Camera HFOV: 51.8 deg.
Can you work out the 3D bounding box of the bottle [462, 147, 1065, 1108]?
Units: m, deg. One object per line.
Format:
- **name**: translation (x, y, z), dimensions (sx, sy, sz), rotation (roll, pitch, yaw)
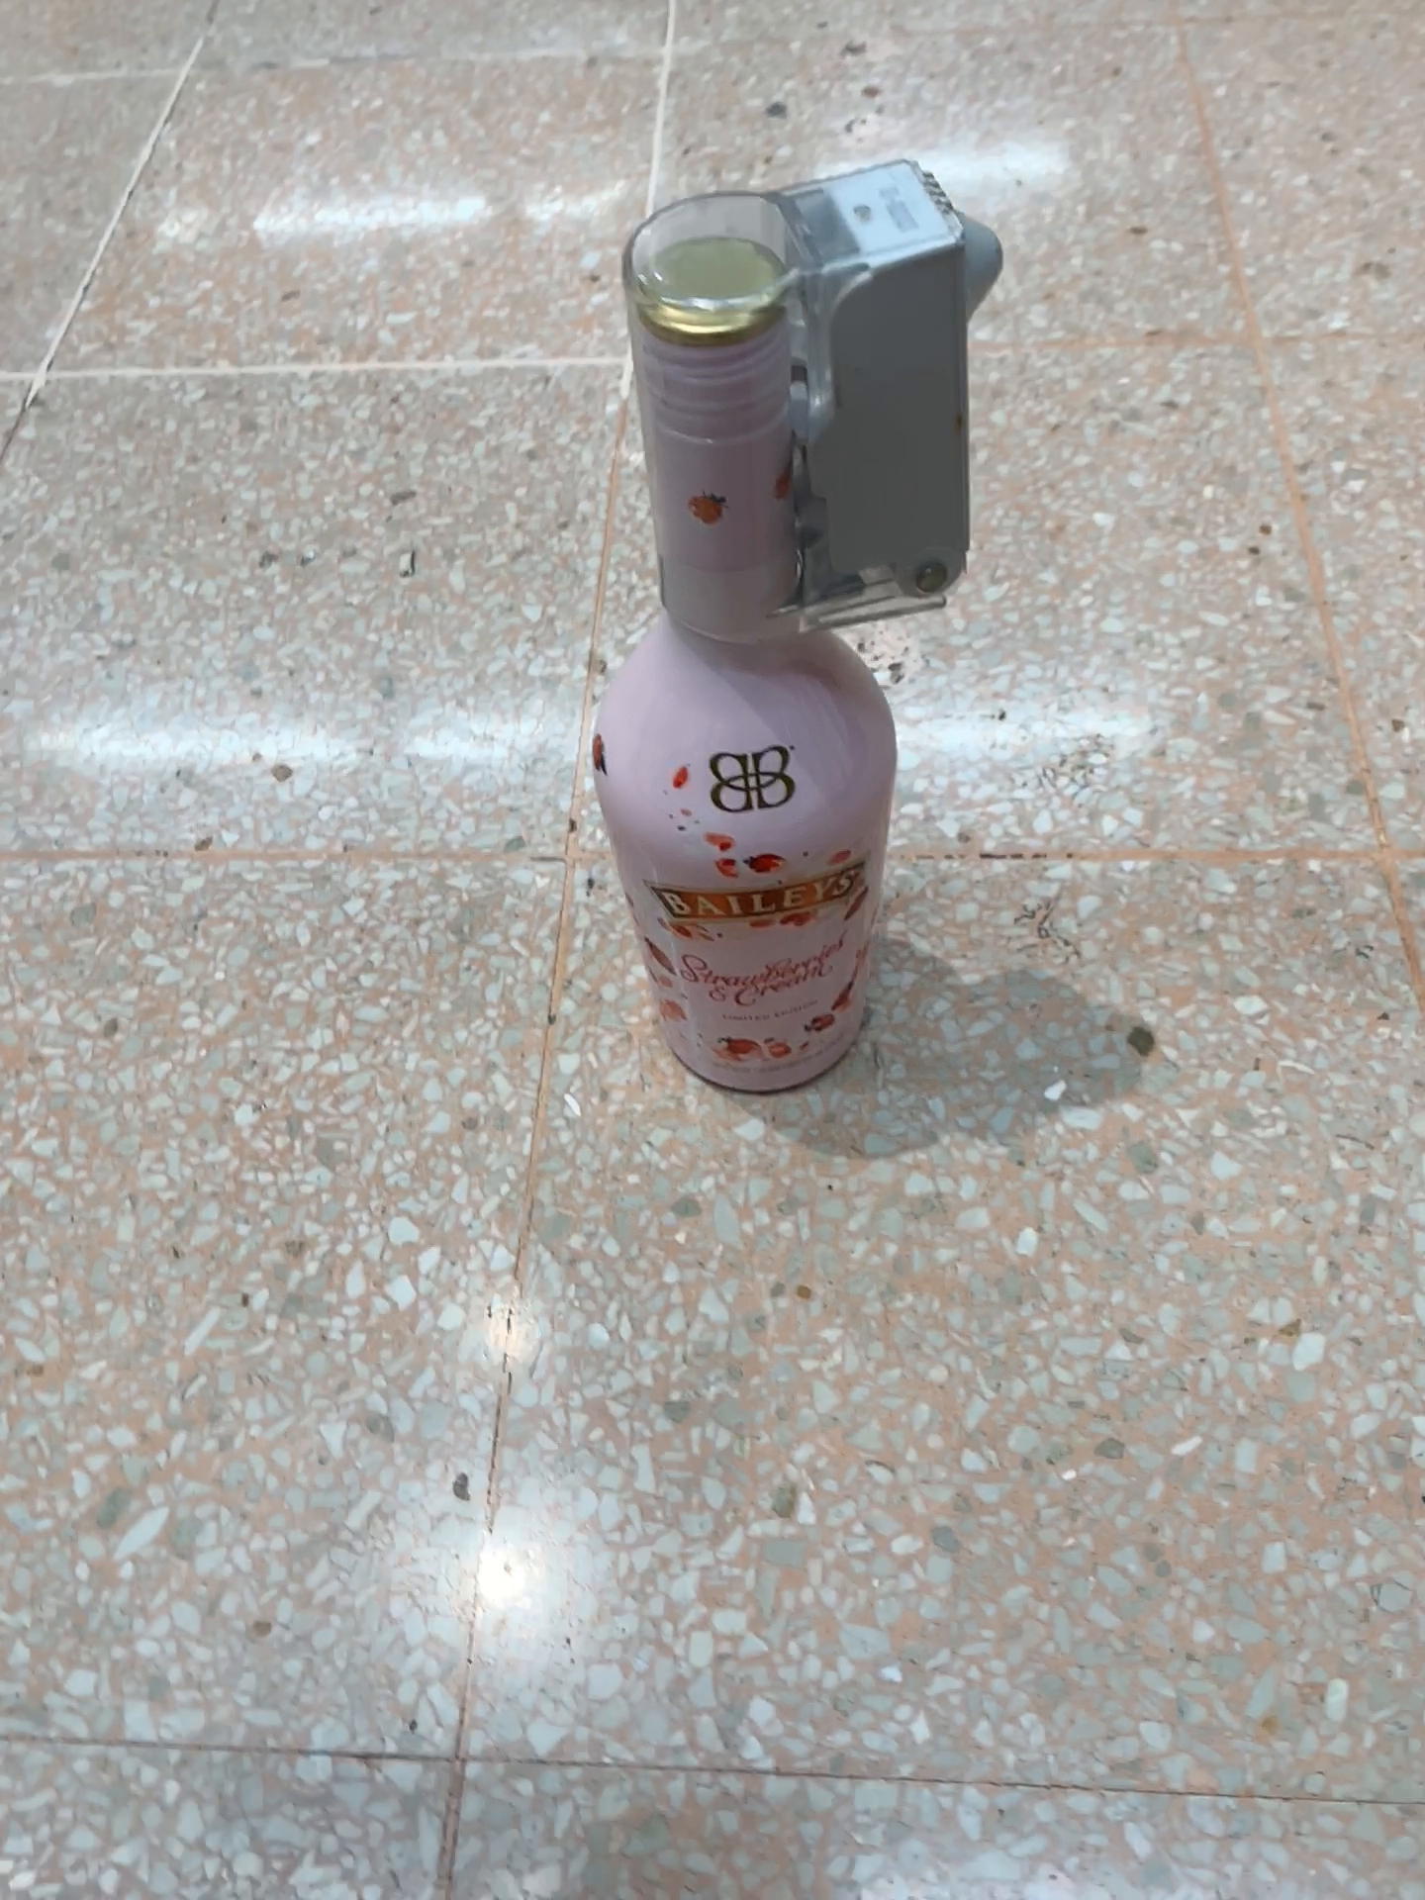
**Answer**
- **bottle**: translation (0.014, -0.054, 0.377), dimensions (0.103, 0.254, 0.073), rotation (-6, 57, 1)
